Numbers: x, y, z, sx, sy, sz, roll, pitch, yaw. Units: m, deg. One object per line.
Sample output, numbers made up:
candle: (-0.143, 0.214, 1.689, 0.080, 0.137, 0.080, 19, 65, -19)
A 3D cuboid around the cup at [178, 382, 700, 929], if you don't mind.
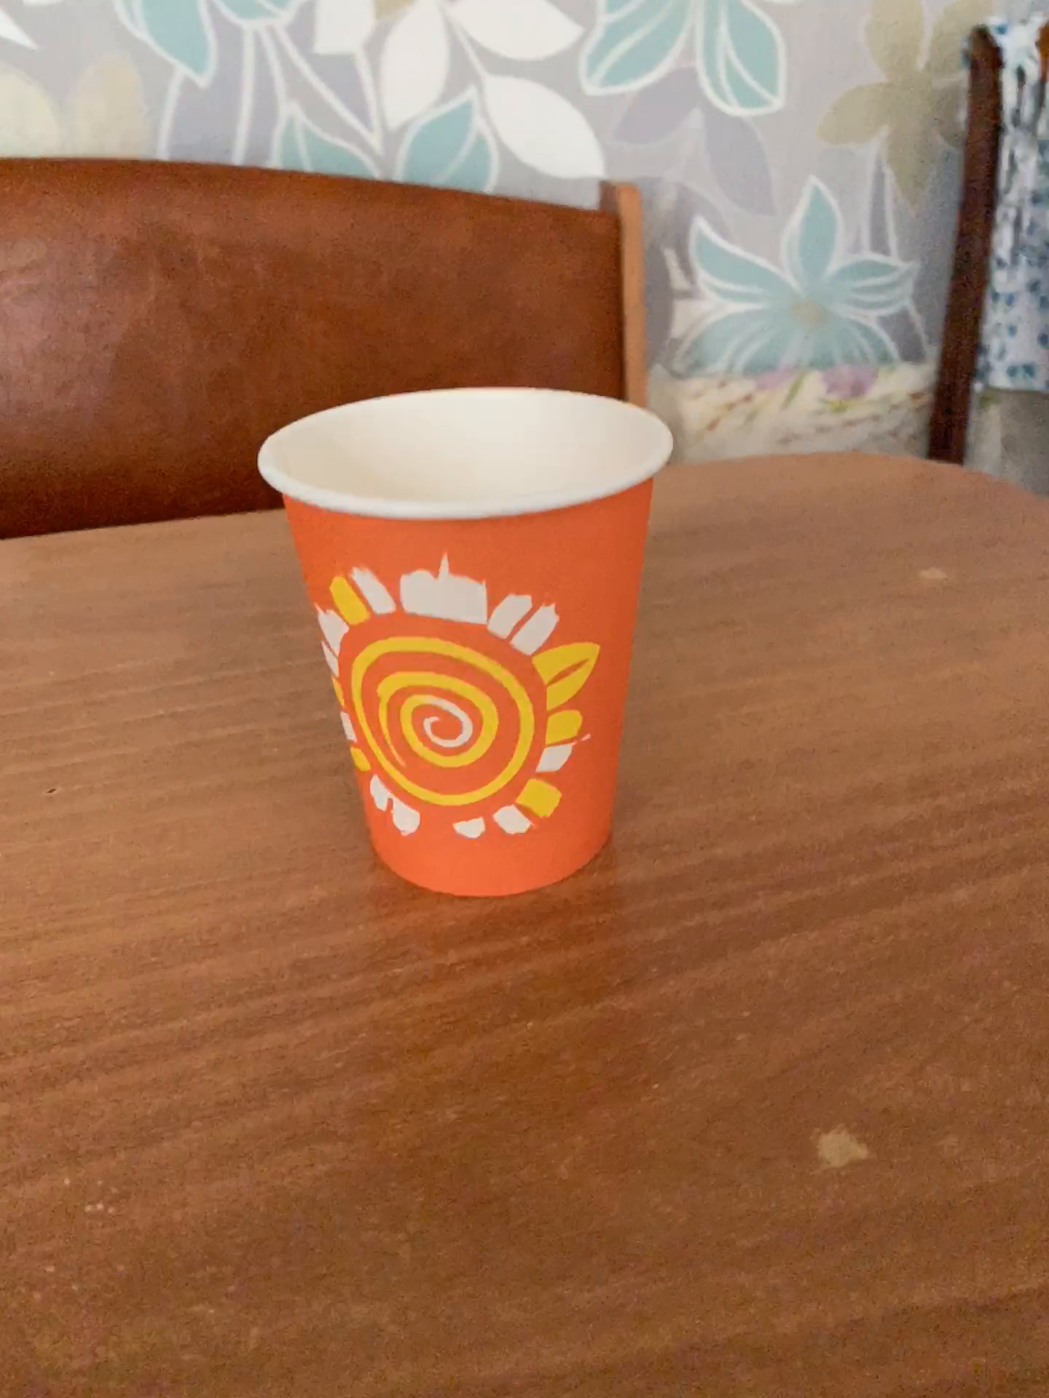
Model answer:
cup: (-0.010, -0.015, 0.231, 0.081, 0.083, 0.079, -1, 29, 1)
